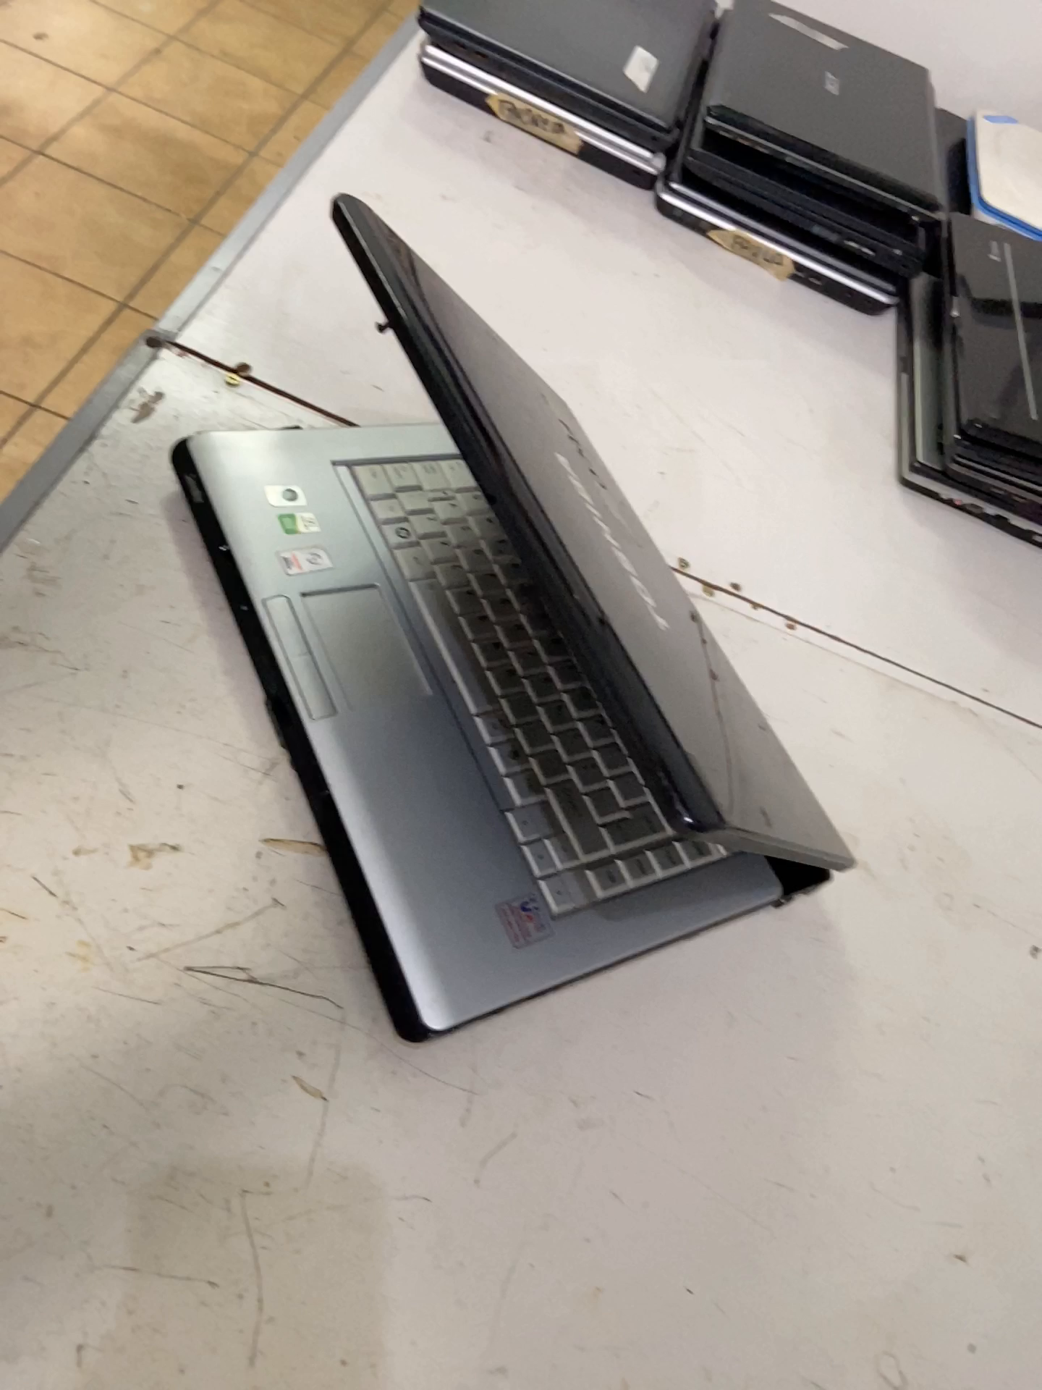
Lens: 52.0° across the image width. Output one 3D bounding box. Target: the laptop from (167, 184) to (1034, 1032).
[{"bbox_3d":[0.014,-0.064,0.523,0.258,0.152,0.346,-11,61,-31],"label":"laptop"}]
